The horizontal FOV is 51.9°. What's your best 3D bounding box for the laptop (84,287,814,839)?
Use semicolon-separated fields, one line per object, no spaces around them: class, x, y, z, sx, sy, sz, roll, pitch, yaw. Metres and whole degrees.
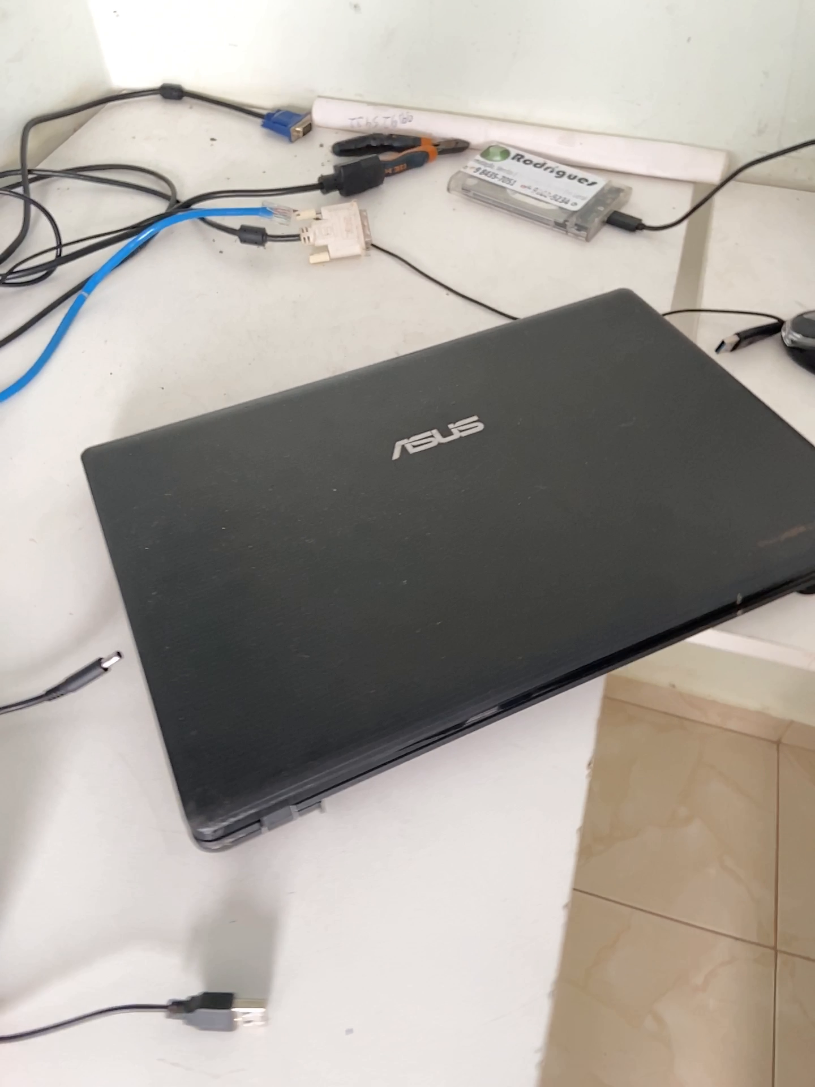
laptop;0.035;-0.029;0.471;0.381;0.010;0.253;-20;51;-14
